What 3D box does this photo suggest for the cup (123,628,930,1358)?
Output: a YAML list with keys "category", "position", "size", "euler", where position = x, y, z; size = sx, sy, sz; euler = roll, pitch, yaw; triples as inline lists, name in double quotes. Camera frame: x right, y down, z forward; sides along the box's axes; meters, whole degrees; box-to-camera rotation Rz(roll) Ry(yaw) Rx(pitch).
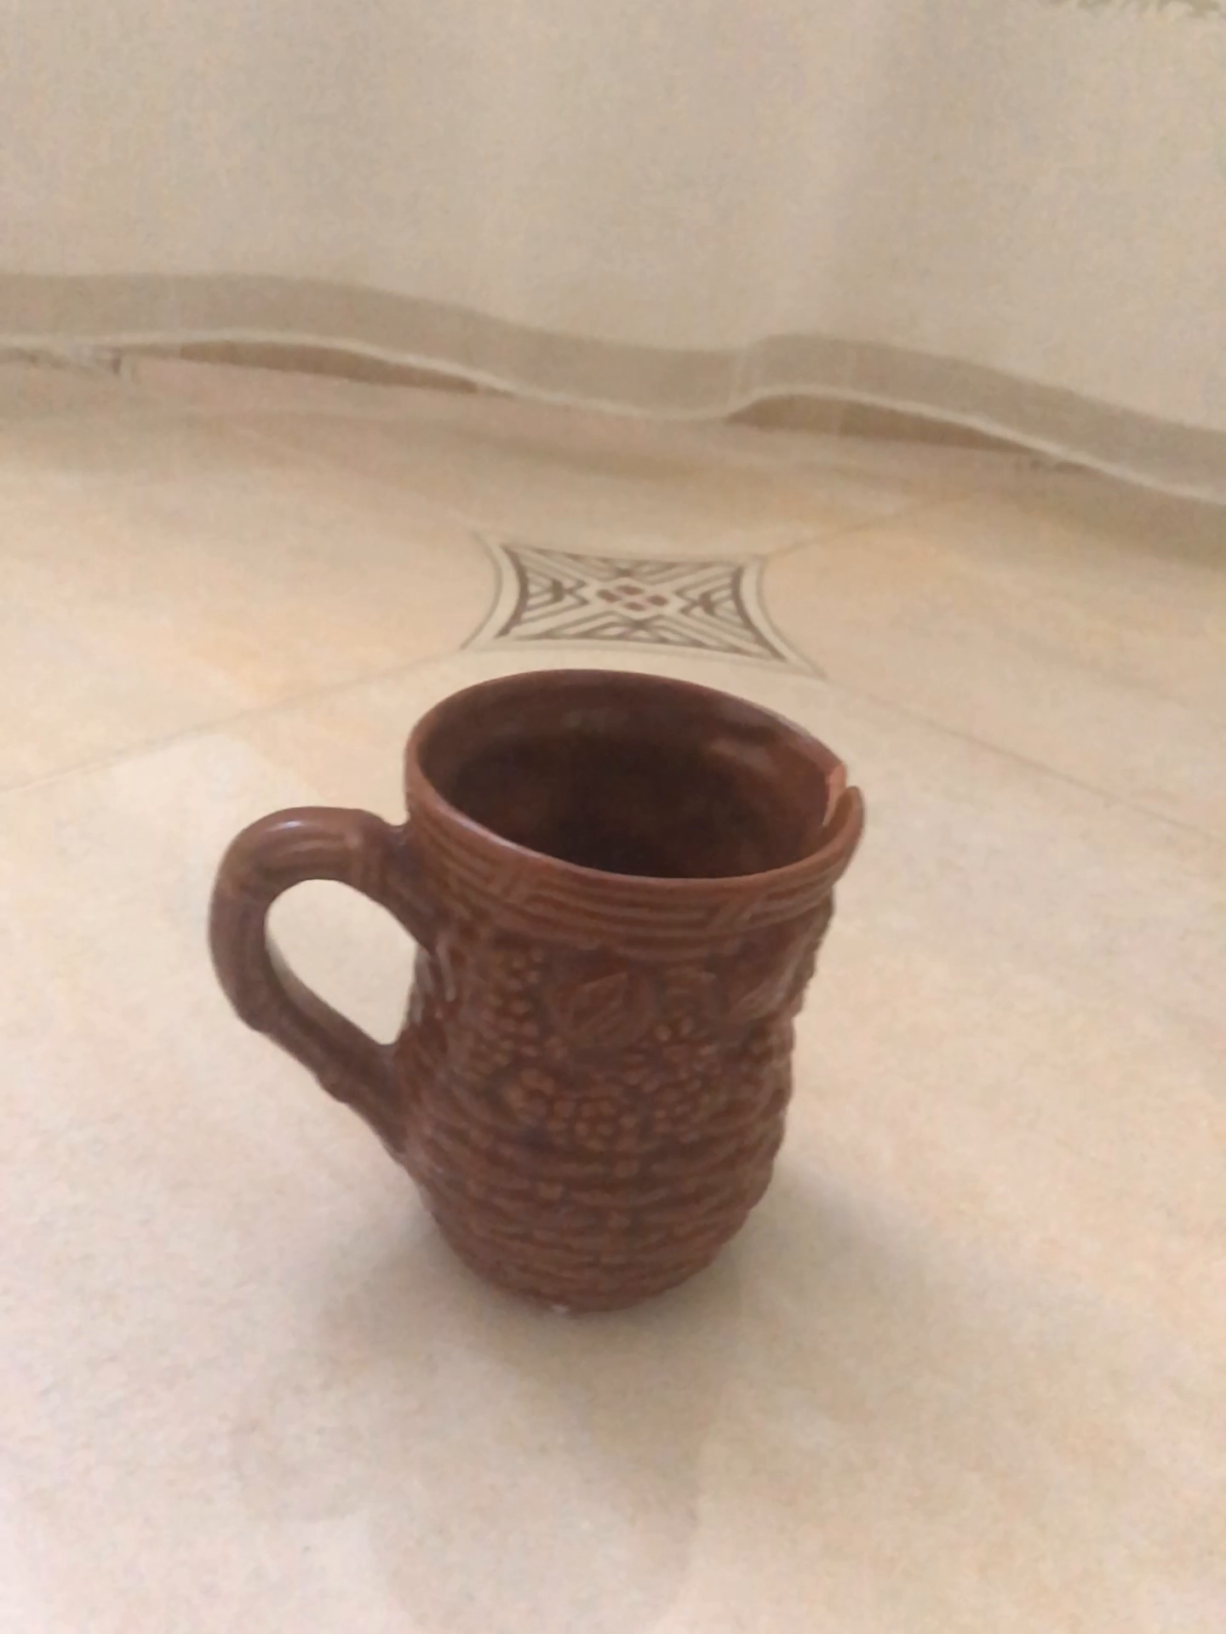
- category: "cup"
  position: [-0.014, 0.026, 0.226]
  size: [0.104, 0.081, 0.073]
  euler: [7, 29, -1]
